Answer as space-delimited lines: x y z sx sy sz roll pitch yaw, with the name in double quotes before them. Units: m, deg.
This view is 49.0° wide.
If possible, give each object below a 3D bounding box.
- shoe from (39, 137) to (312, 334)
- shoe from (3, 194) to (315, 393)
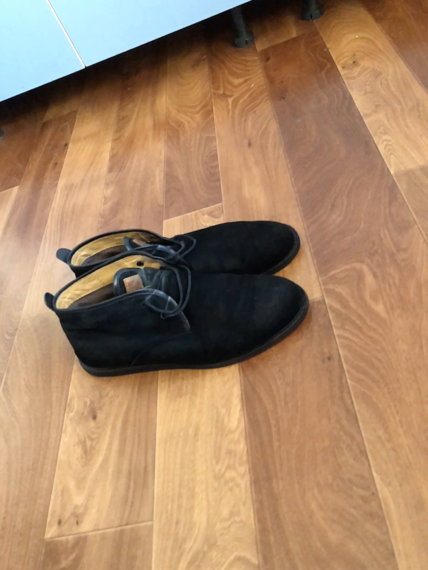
"shoe" -0.043 -0.054 0.584 0.290 0.129 0.111 -15 47 12
"shoe" -0.052 0.020 0.513 0.290 0.129 0.111 -11 48 15
